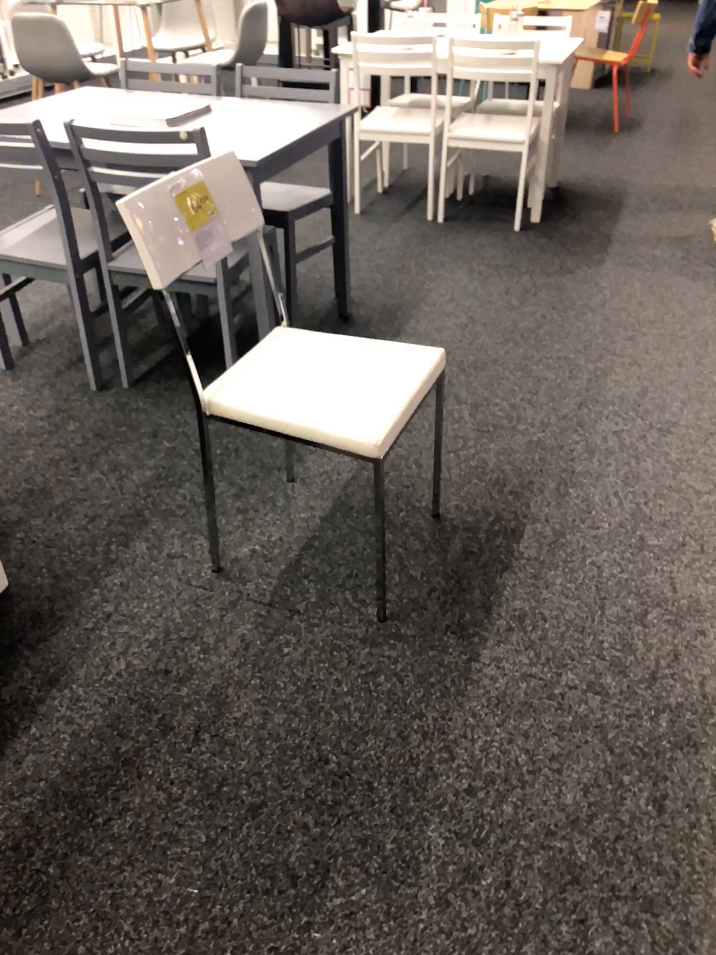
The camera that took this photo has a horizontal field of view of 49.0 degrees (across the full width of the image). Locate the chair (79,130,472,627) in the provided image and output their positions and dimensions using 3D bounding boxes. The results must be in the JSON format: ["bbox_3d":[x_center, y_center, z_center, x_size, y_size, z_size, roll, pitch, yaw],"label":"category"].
[{"bbox_3d":[-0.114,-0.218,1.636,0.539,0.815,0.504,11,36,16],"label":"chair"}]
